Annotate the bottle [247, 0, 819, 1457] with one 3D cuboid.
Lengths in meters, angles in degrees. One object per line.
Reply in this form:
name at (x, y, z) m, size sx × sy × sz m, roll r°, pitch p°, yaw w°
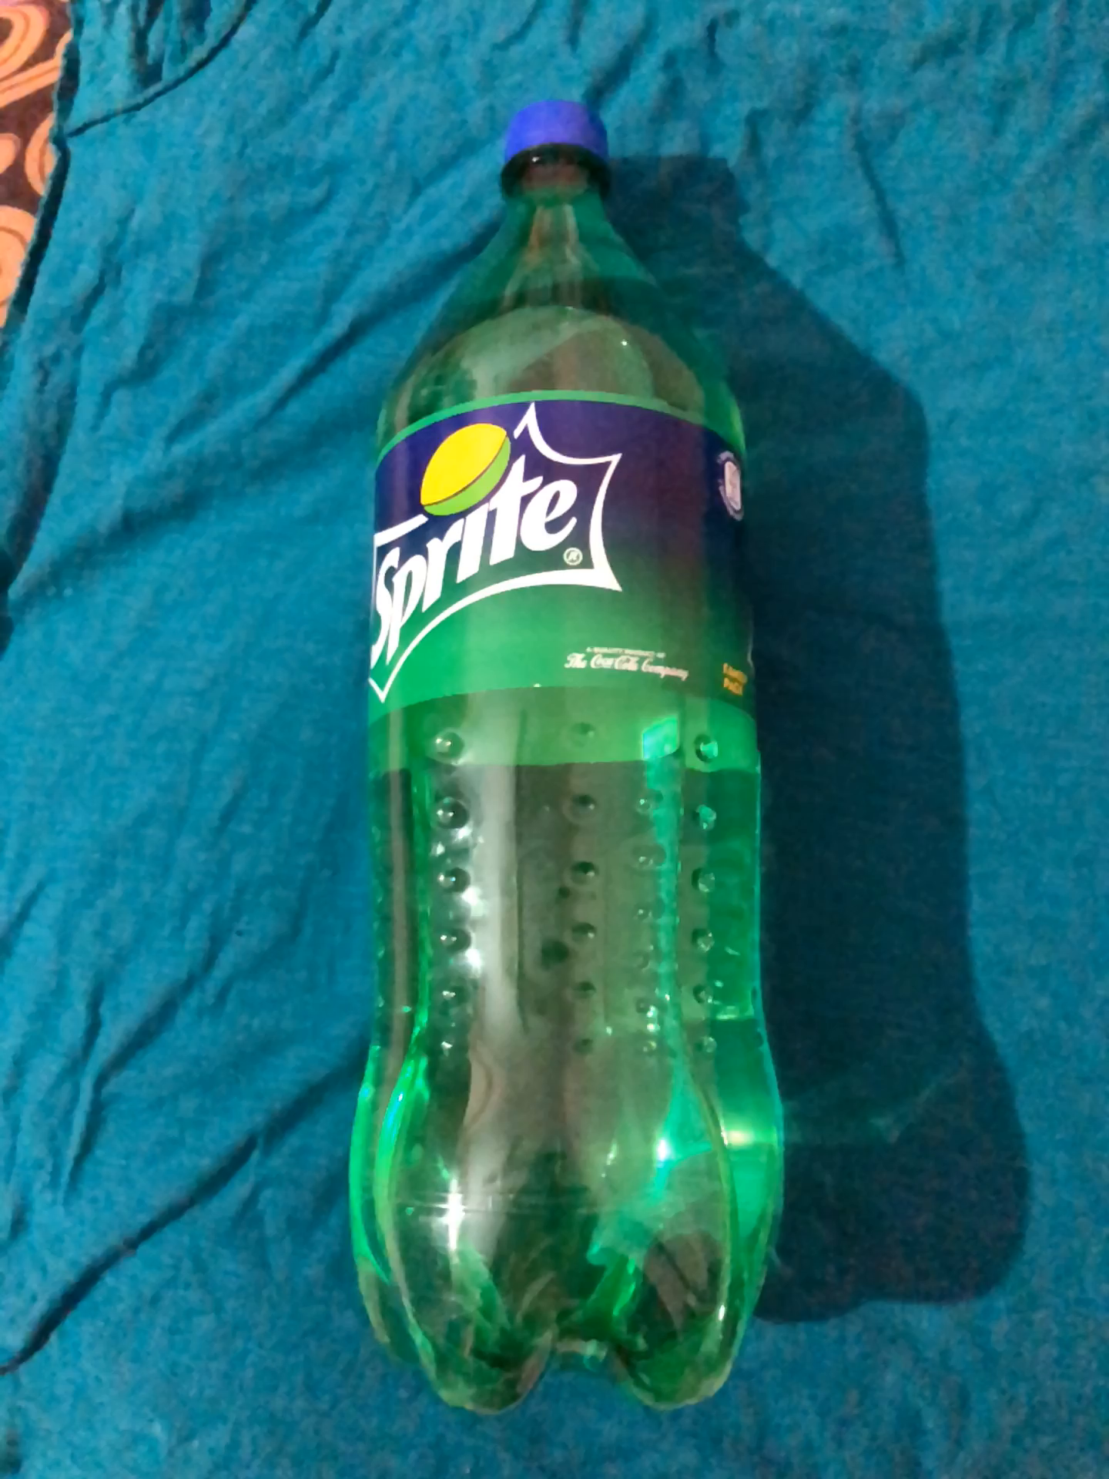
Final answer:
bottle at (-0.005, -0.022, 0.306) m, size 0.110 × 0.070 × 0.330 m, roll -5°, pitch 79°, yaw 21°
